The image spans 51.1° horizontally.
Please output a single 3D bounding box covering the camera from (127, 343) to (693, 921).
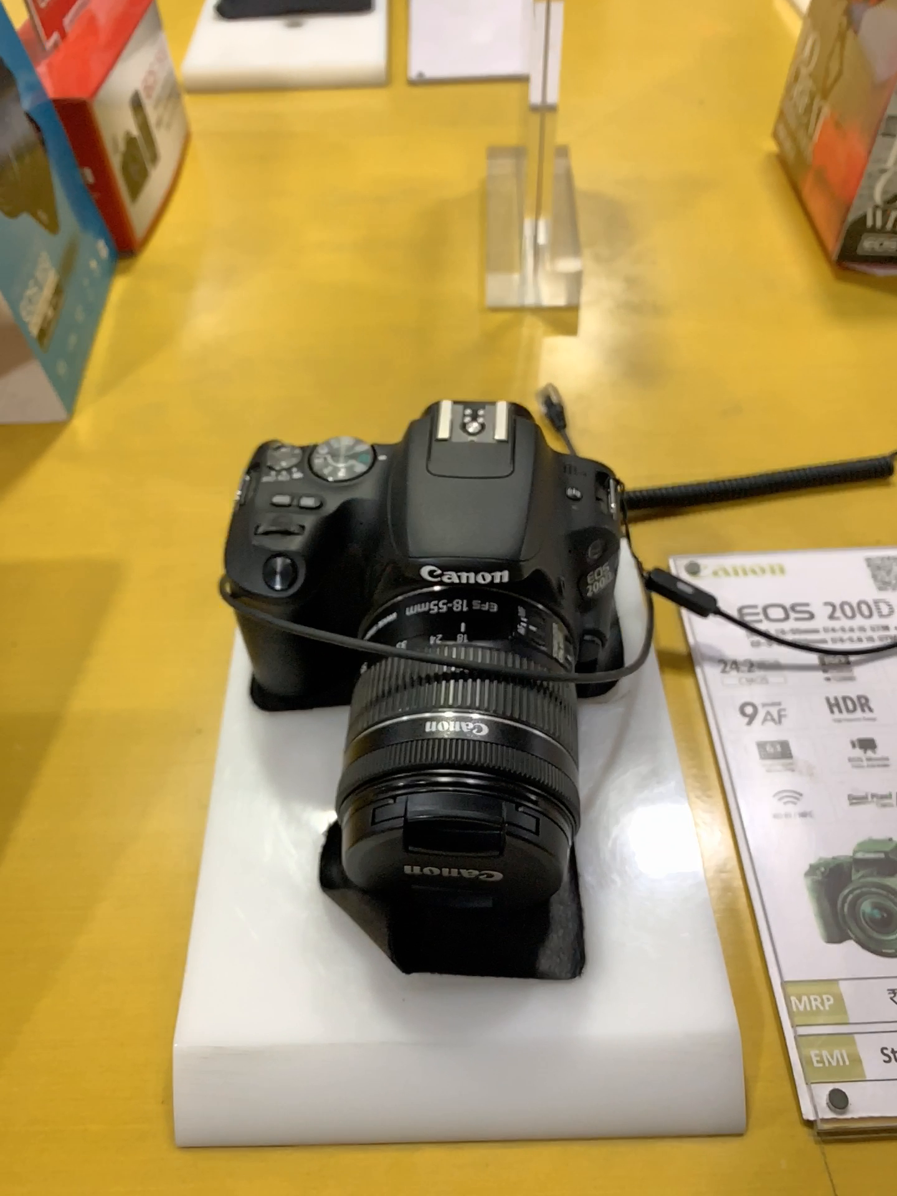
[{"bbox_3d":[-0.006,0.002,0.277,0.120,0.070,0.160,0,50,2],"label":"camera"}]
